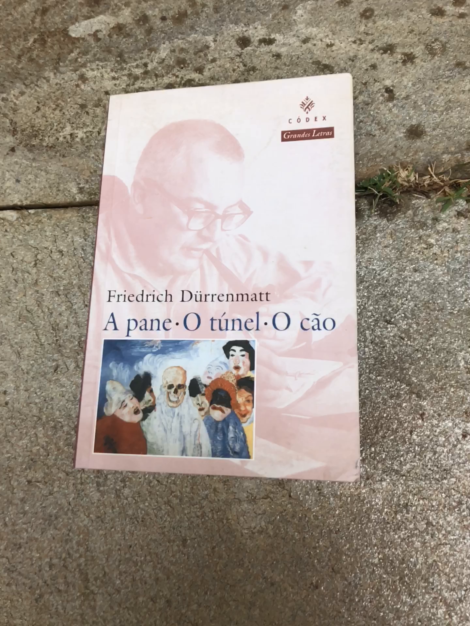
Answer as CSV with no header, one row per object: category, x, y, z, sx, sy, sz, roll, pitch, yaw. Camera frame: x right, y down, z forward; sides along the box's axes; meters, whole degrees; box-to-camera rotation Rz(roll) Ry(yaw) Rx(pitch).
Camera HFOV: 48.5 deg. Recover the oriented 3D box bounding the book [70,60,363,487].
book,-0.006,-0.026,0.269,0.138,0.020,0.210,0,79,10
